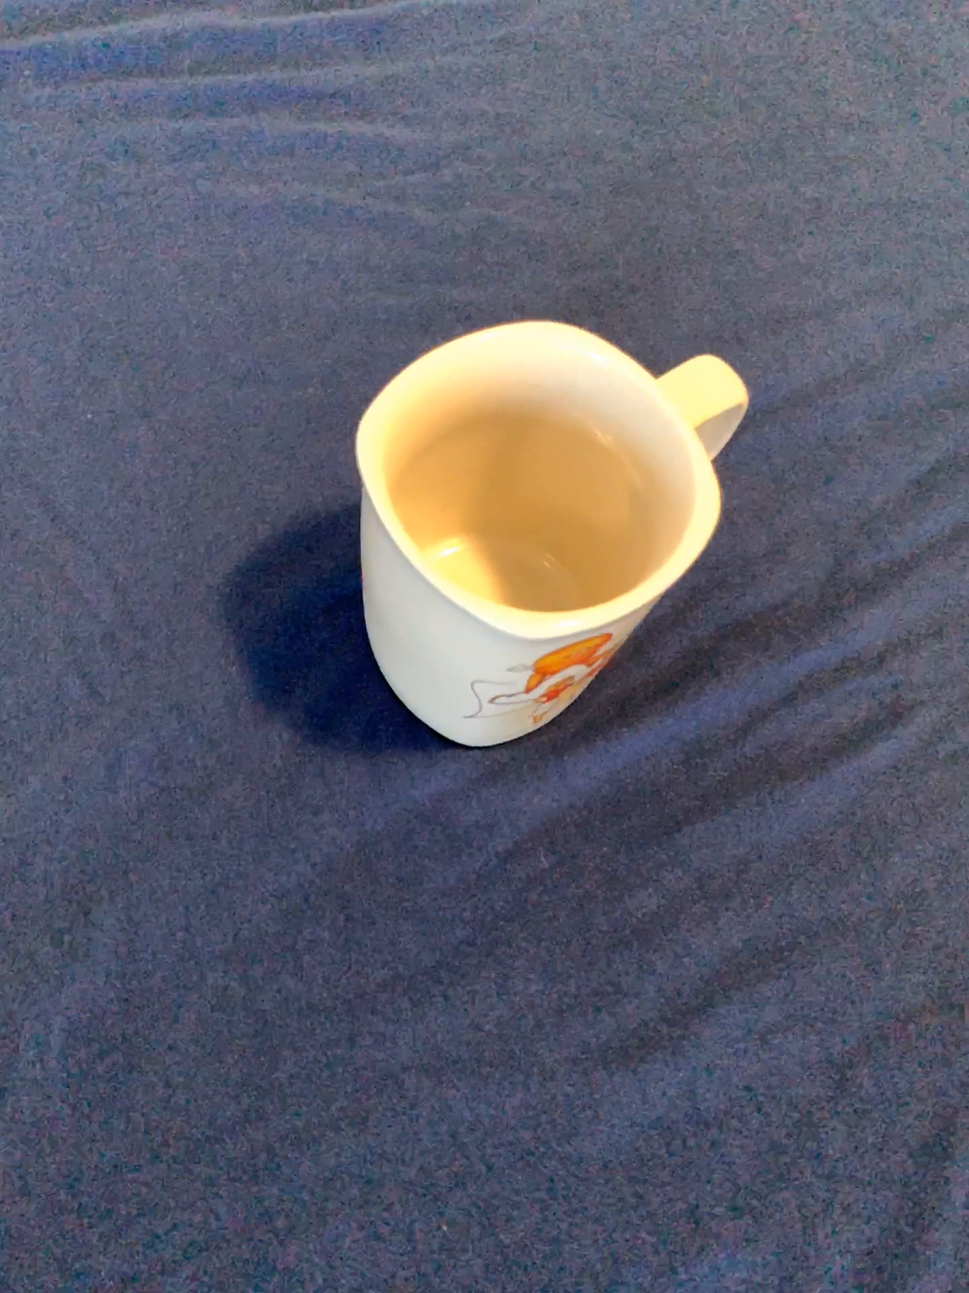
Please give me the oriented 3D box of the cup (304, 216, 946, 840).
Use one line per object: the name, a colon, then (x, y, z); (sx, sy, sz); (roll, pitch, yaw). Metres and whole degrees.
cup: (0.025, -0.025, 0.237); (0.110, 0.090, 0.070); (-31, 73, -20)
